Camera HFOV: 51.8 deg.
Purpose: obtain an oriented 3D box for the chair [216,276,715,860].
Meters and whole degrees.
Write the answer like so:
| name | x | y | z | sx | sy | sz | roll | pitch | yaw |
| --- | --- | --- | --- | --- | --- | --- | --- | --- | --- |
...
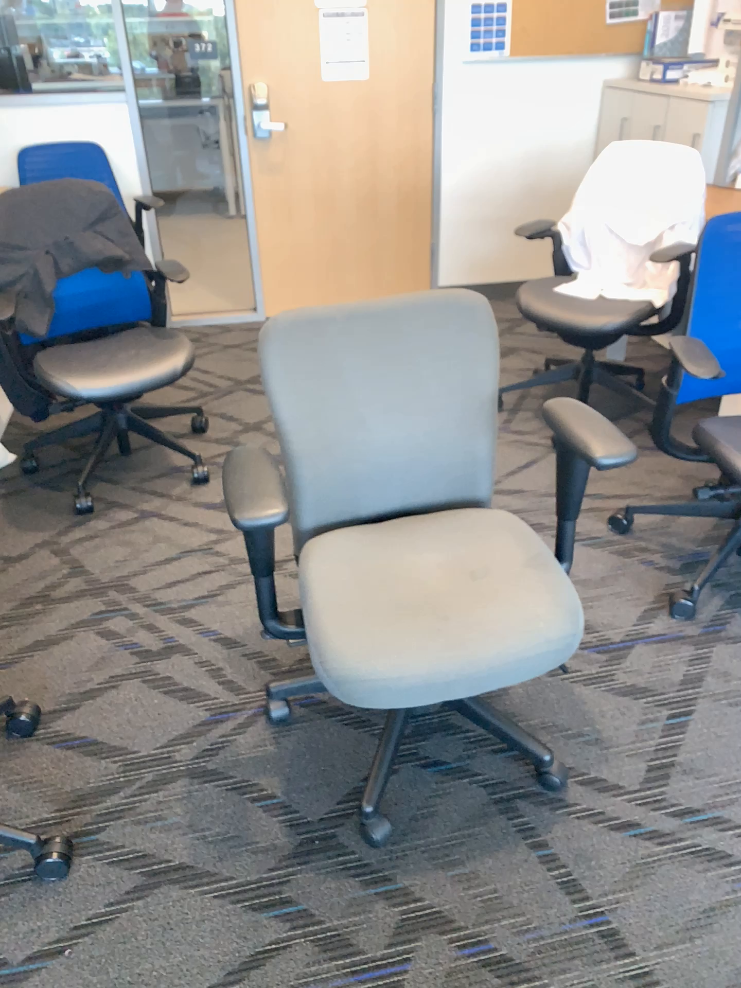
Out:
| name | x | y | z | sx | sy | sz | roll | pitch | yaw |
| --- | --- | --- | --- | --- | --- | --- | --- | --- | --- |
| chair | 0.094 | 0.098 | 1.488 | 0.670 | 0.813 | 0.666 | -7 | 31 | -8 |
